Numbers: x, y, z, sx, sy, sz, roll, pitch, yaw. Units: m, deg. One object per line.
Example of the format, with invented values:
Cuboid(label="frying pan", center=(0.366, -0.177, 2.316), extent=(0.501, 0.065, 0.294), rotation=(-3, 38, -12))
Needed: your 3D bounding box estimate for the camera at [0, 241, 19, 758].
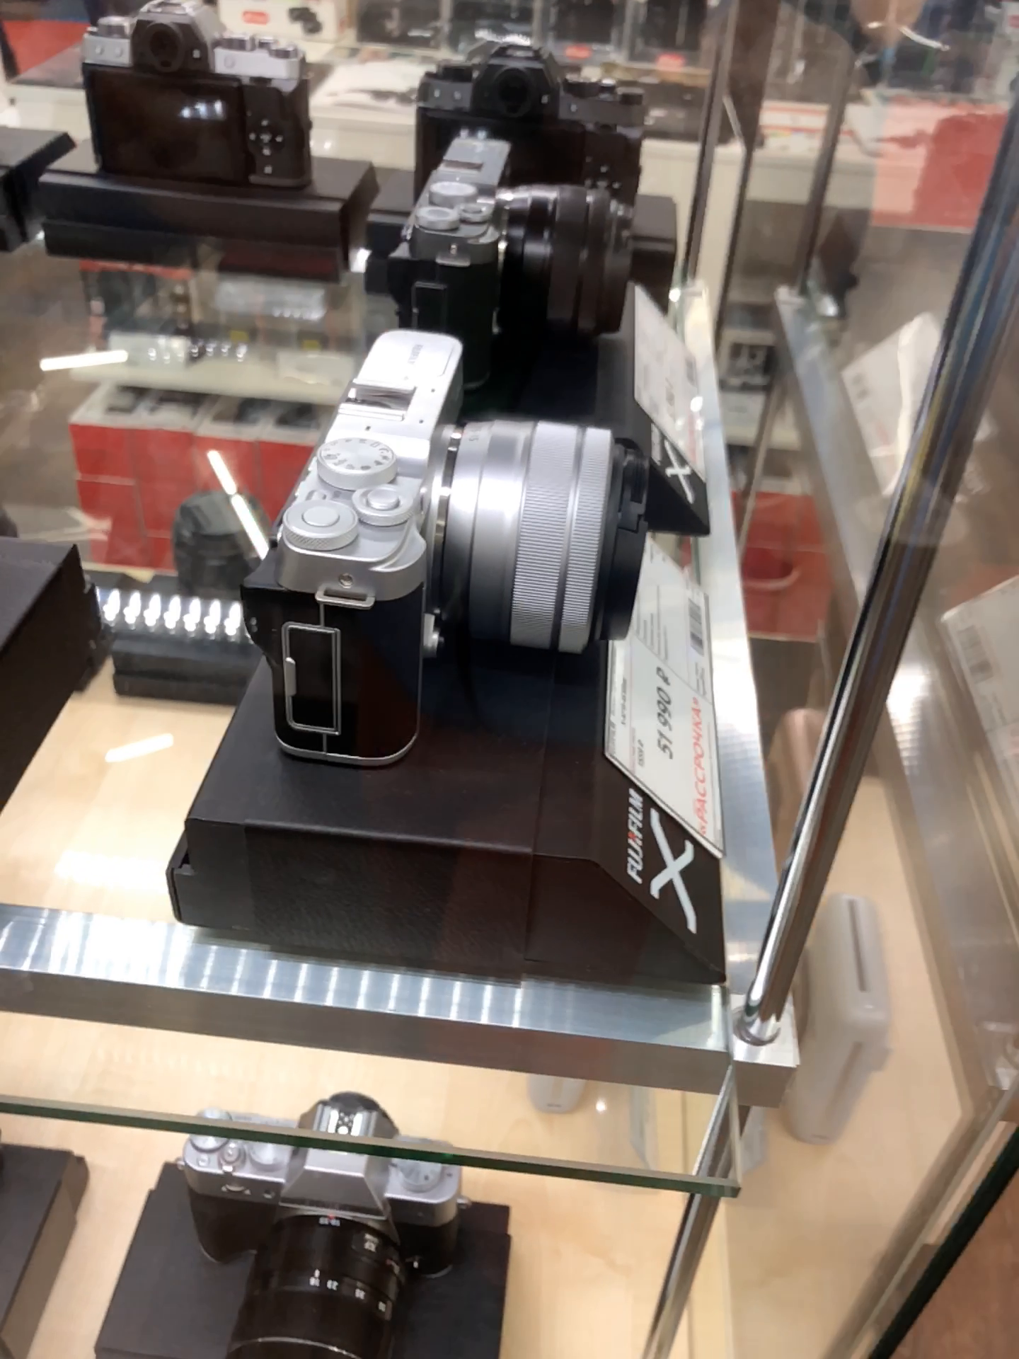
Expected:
Cuboid(label="camera", center=(-0.207, -0.048, 0.283), extent=(0.115, 0.080, 0.097), rotation=(6, 39, 1))

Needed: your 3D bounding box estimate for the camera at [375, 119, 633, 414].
Cuboid(label="camera", center=(0.000, -0.182, 0.493), extent=(0.096, 0.080, 0.116), rotation=(6, 39, 2))

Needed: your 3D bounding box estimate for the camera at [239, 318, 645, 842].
Cuboid(label="camera", center=(-0.012, -0.034, 0.315), extent=(0.084, 0.080, 0.127), rotation=(7, 39, 3))
